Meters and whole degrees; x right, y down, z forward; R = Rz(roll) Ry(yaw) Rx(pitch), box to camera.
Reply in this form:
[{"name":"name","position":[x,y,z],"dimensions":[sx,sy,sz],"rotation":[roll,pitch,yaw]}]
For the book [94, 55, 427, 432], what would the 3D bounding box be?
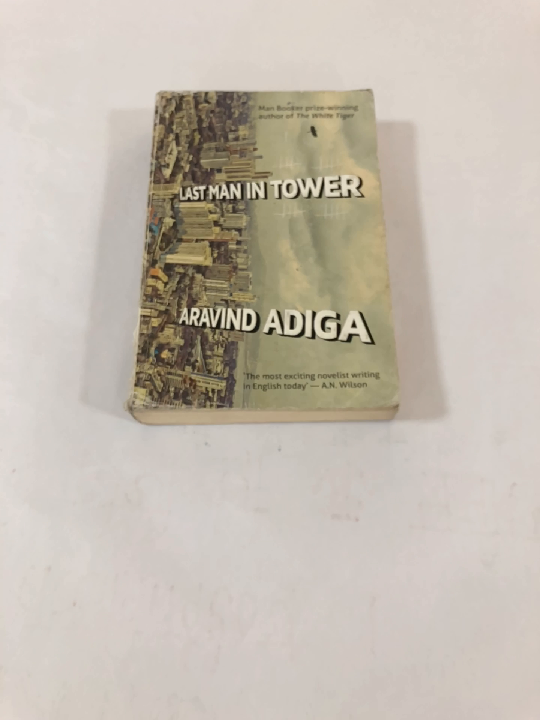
[{"name":"book","position":[-0.006,-0.073,0.331],"dimensions":[0.150,0.030,0.220],"rotation":[-1,67,0]}]
